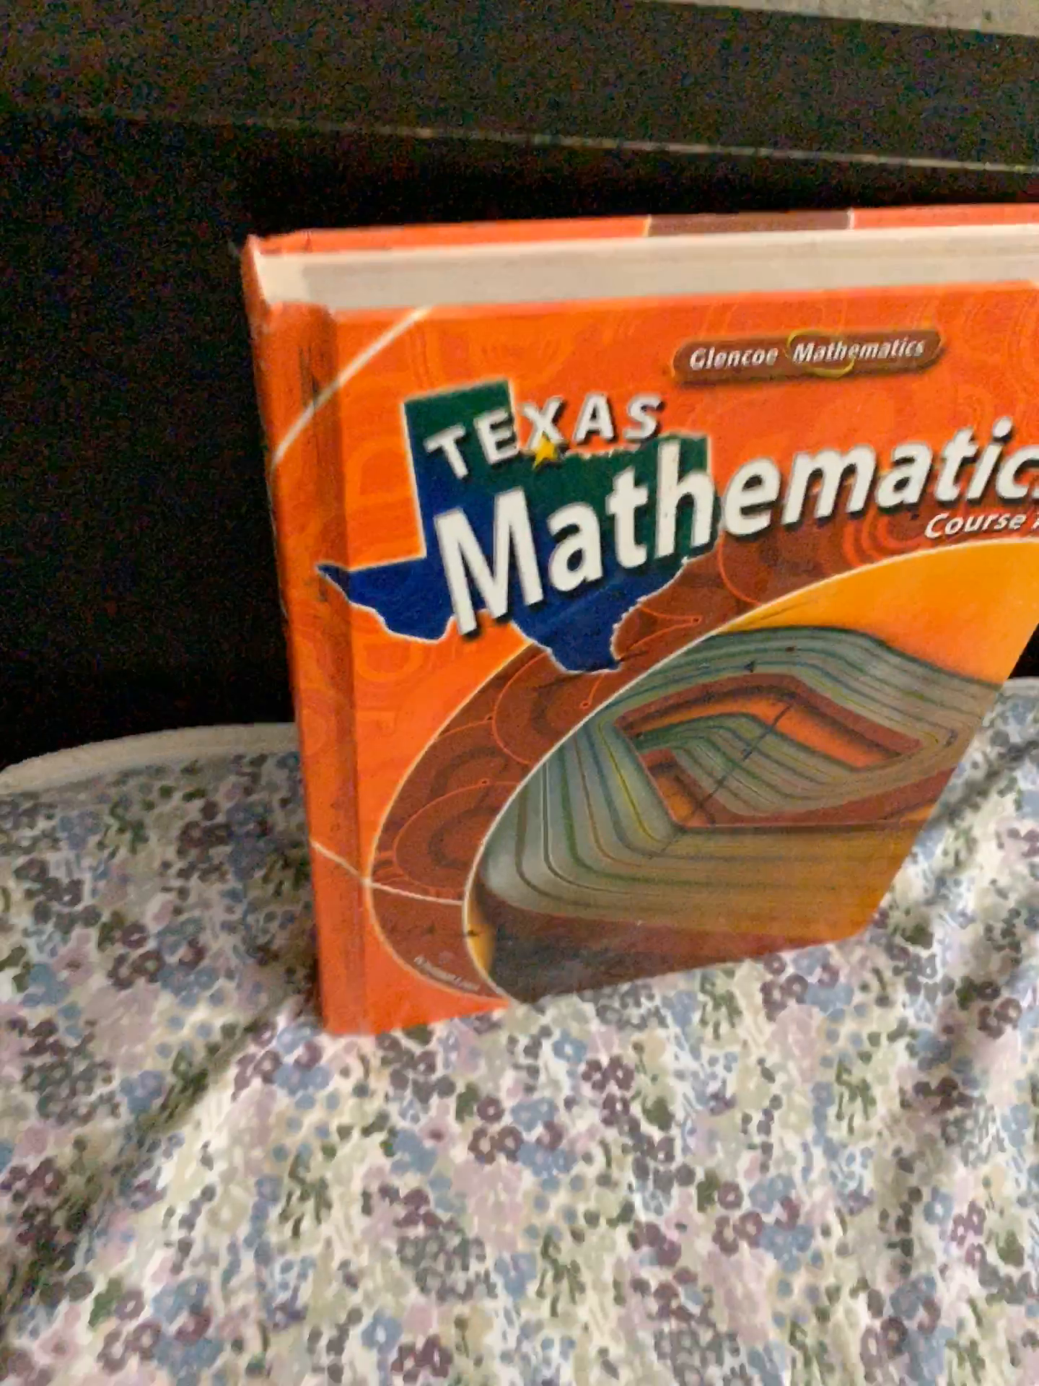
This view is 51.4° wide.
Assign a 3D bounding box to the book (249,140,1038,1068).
[{"bbox_3d":[0.051,0.002,0.321,0.230,0.299,0.050,-9,51,-16],"label":"book"}]
